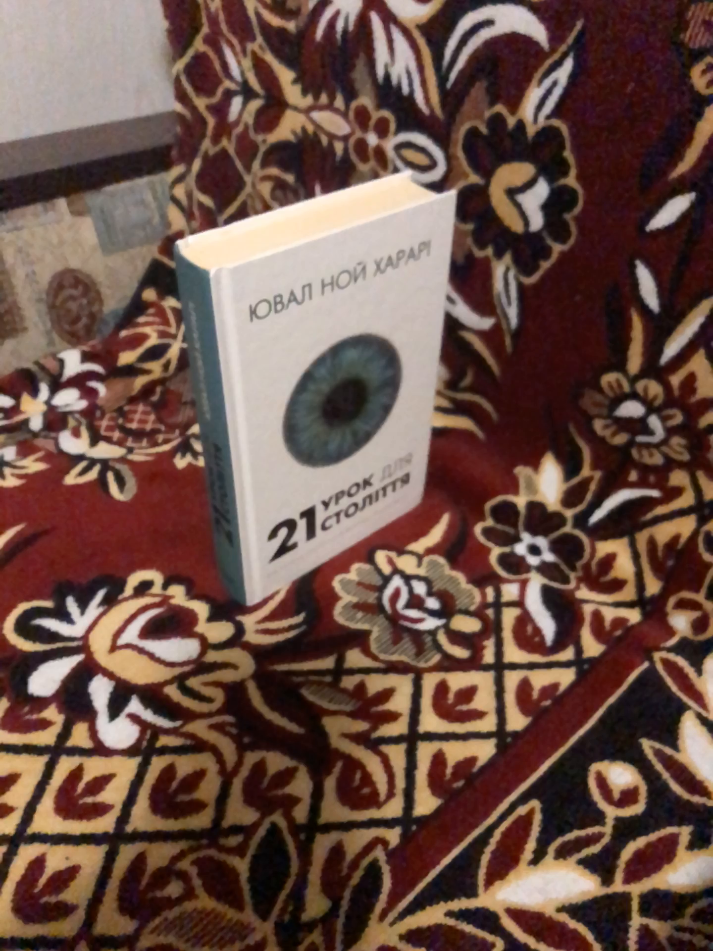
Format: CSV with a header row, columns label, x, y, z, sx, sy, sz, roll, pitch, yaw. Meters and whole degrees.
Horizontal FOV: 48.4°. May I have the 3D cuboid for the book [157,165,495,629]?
label,x,y,z,sx,sy,sz,roll,pitch,yaw
book,-0.012,-0.036,0.416,0.153,0.211,0.040,-24,47,-29
